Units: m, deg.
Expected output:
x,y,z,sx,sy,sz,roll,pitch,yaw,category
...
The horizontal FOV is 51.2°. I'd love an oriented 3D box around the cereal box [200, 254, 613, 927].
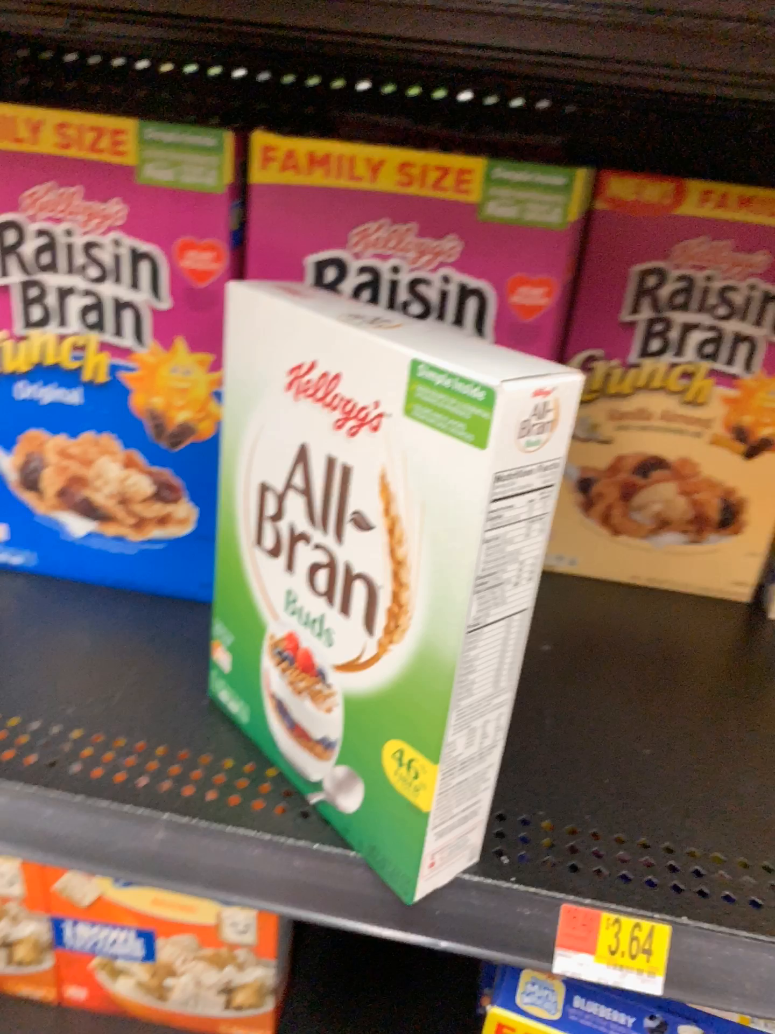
x,y,z,sx,sy,sz,roll,pitch,yaw,category
-0.016,0.025,0.389,0.050,0.259,0.190,-13,31,-40,cereal box
